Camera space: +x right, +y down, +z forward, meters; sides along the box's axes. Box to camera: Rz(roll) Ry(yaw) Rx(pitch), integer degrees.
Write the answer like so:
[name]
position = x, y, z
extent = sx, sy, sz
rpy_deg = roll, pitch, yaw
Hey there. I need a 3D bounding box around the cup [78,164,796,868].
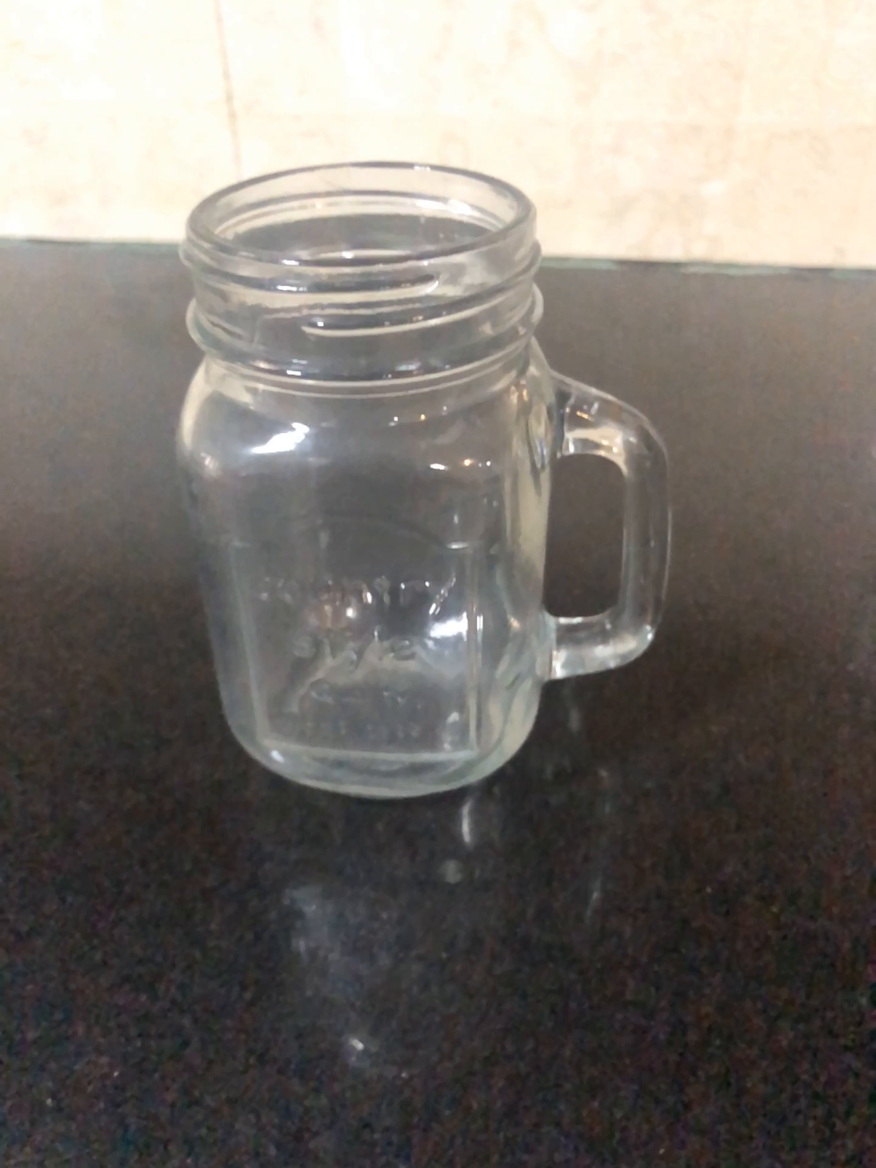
[cup]
position = 0.003, -0.015, 0.220
extent = 0.110, 0.129, 0.081
rpy_deg = 3, 35, 5
